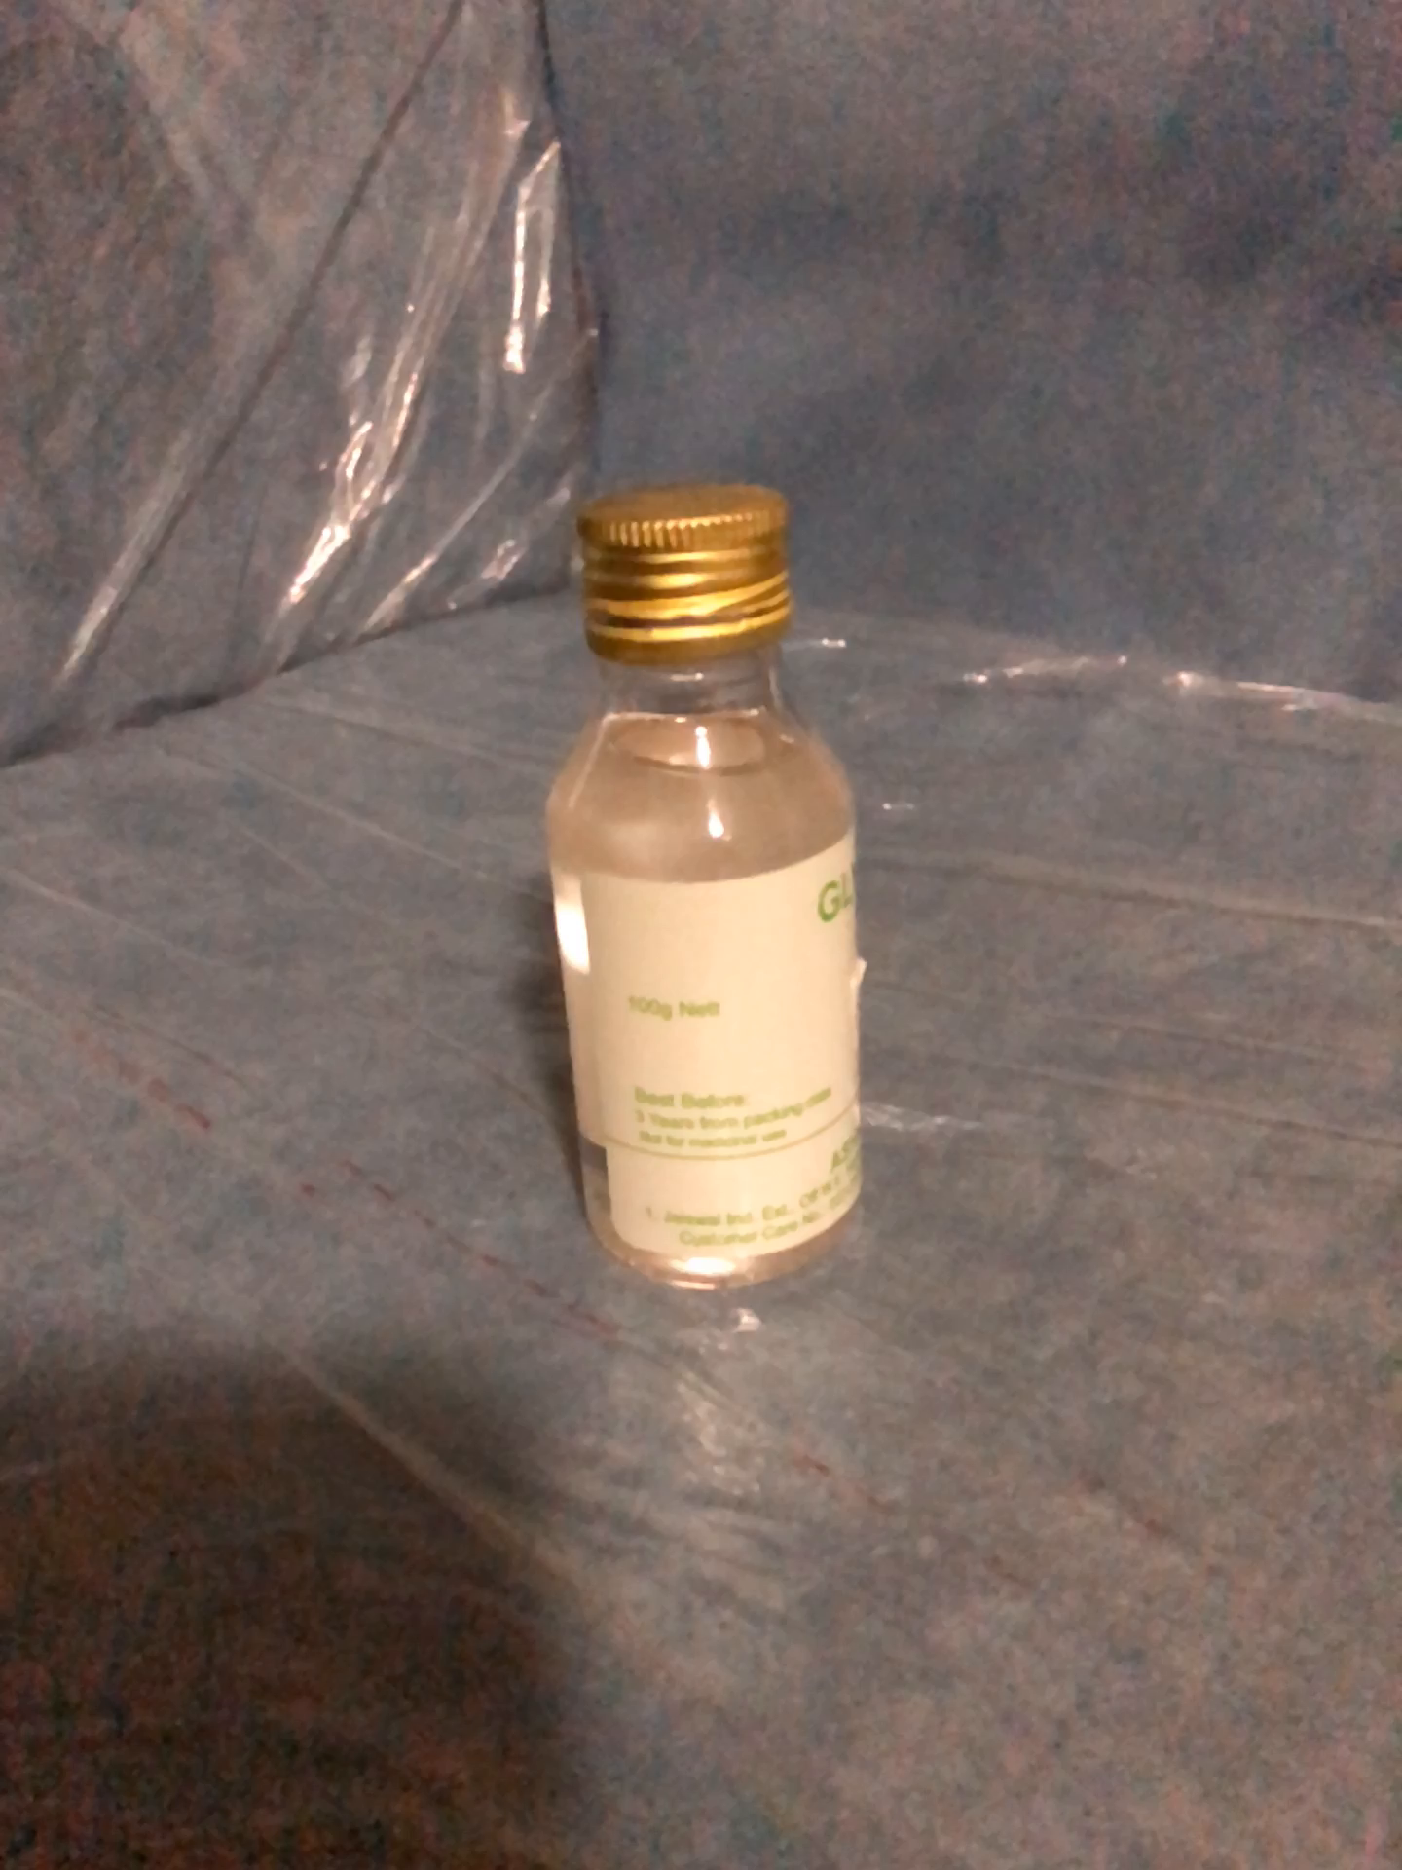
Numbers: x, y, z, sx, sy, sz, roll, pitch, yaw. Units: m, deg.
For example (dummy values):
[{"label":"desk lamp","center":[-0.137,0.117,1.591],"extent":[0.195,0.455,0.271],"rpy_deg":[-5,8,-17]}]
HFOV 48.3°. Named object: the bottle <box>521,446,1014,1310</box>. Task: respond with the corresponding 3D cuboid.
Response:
[{"label":"bottle","center":[0.009,-0.007,0.203],"extent":[0.050,0.100,0.050],"rpy_deg":[-2,27,1]}]
